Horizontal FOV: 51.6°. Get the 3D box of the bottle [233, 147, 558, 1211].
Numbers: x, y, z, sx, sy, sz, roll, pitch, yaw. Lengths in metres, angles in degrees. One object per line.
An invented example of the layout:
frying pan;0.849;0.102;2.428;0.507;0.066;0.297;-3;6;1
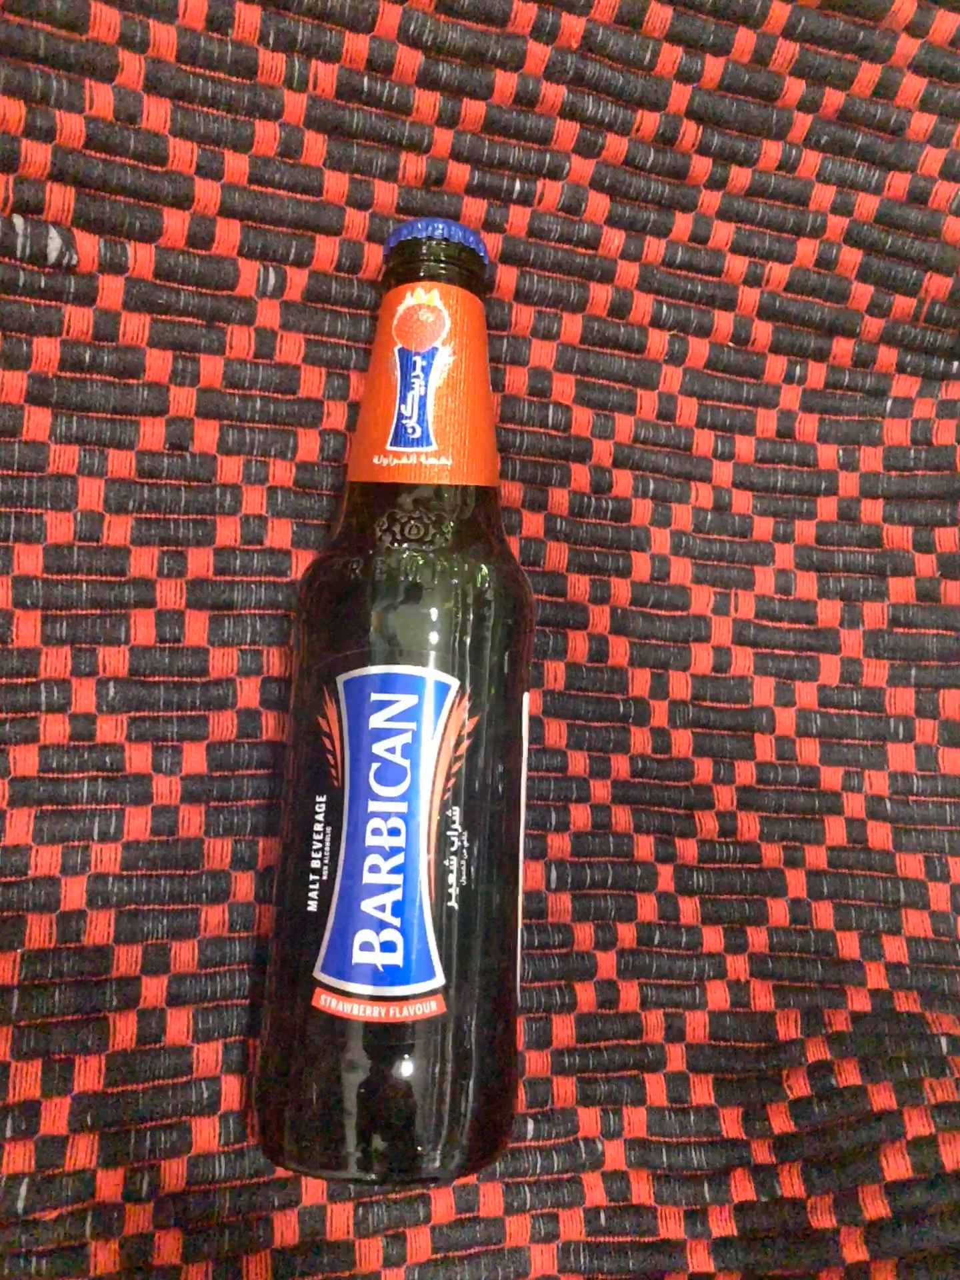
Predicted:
bottle;-0.015;0.004;0.239;0.060;0.070;0.220;1;80;-1
